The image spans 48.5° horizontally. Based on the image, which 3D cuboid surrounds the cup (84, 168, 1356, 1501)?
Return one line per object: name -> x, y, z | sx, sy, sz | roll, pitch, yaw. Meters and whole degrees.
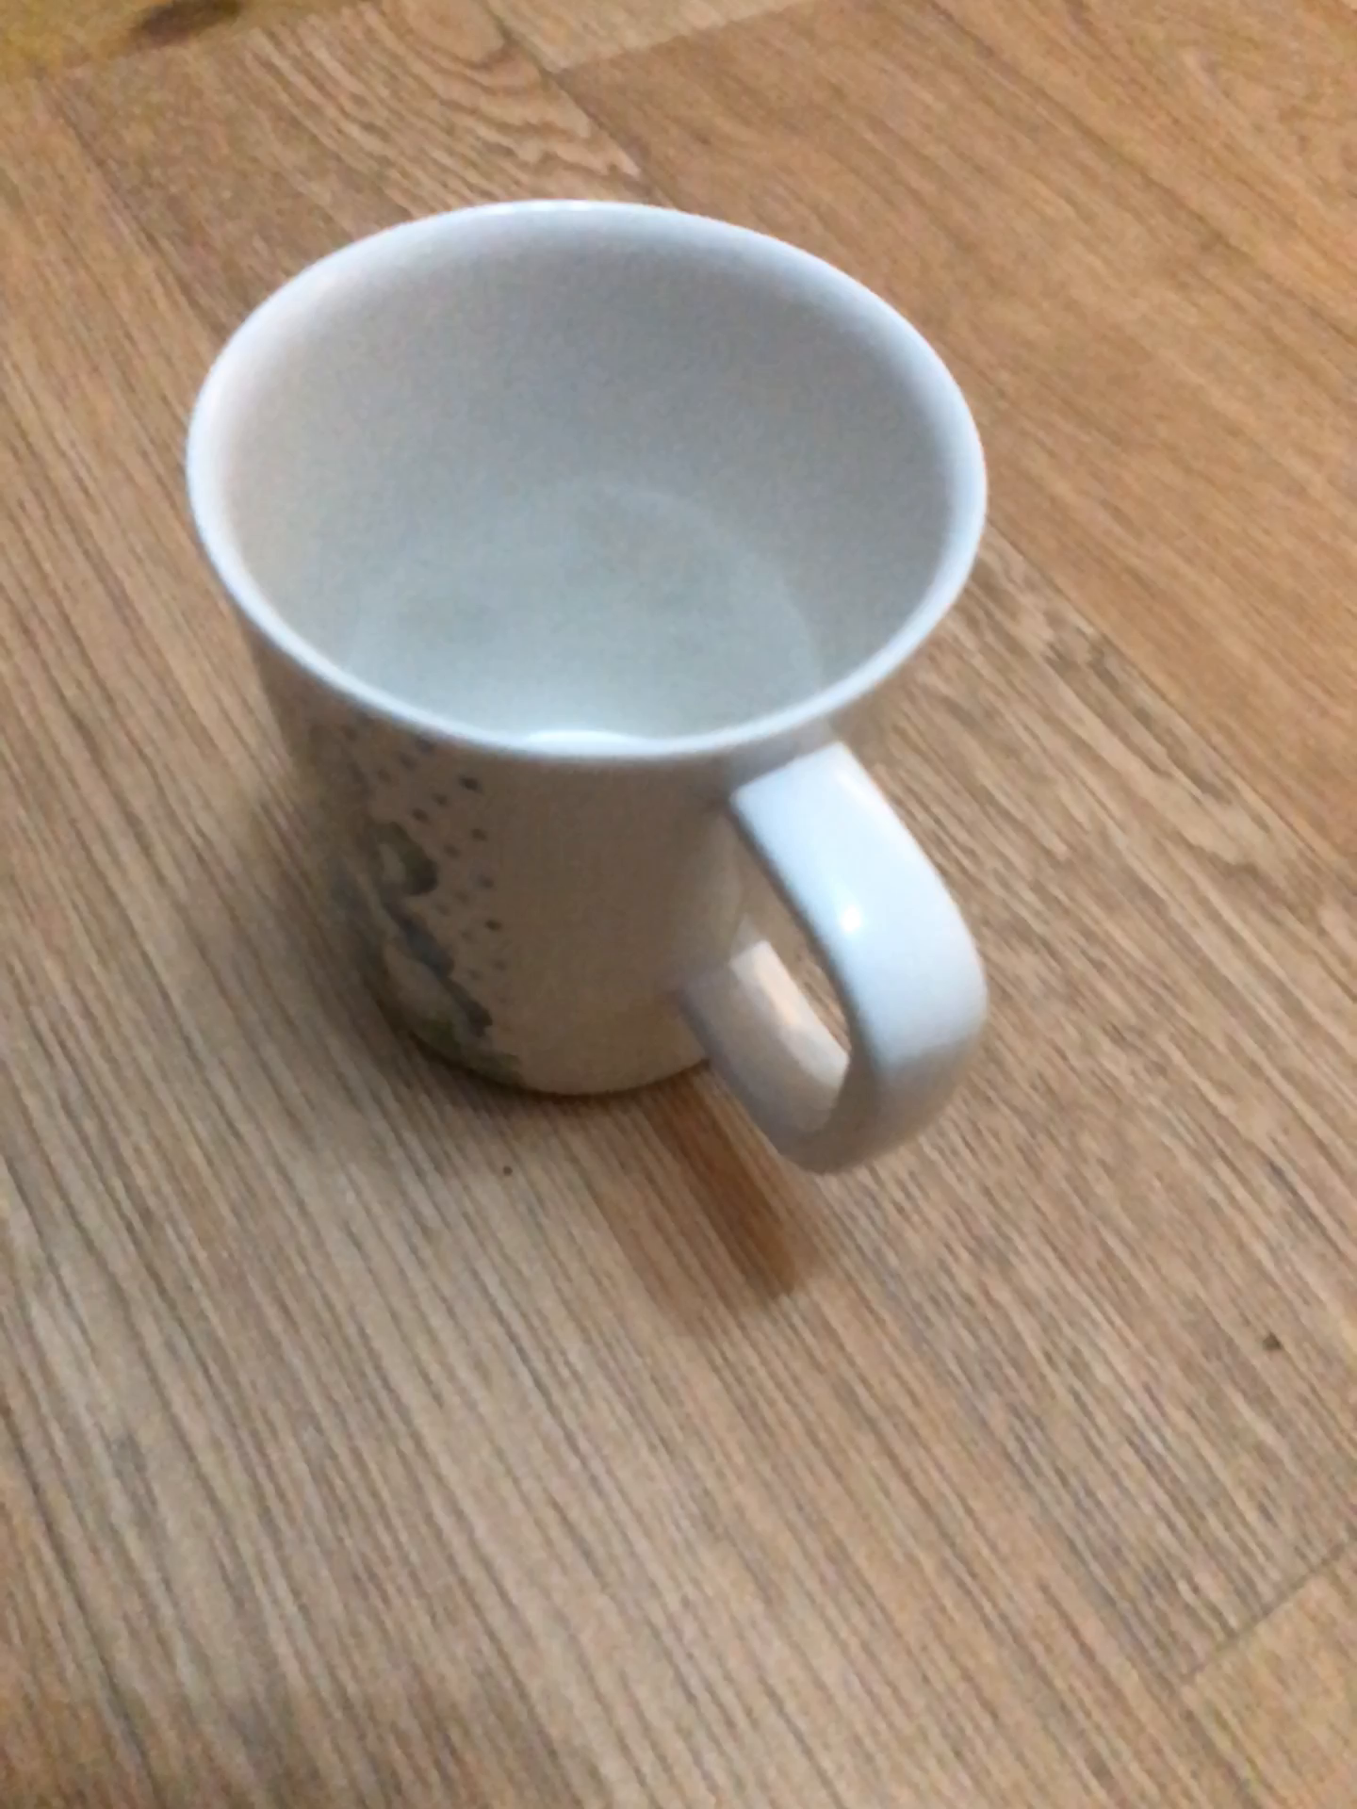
cup -> -0.002, -0.010, 0.176 | 0.080, 0.080, 0.110 | -23, 63, -18
